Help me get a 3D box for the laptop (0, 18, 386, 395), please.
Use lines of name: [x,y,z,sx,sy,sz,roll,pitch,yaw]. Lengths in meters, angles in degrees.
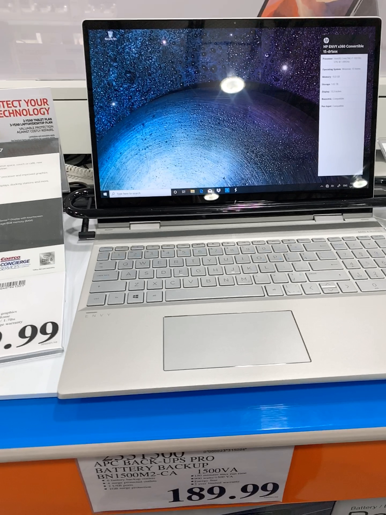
laptop: [0.059,-0.091,0.378,0.346,0.209,0.341,-3,35,-4]
